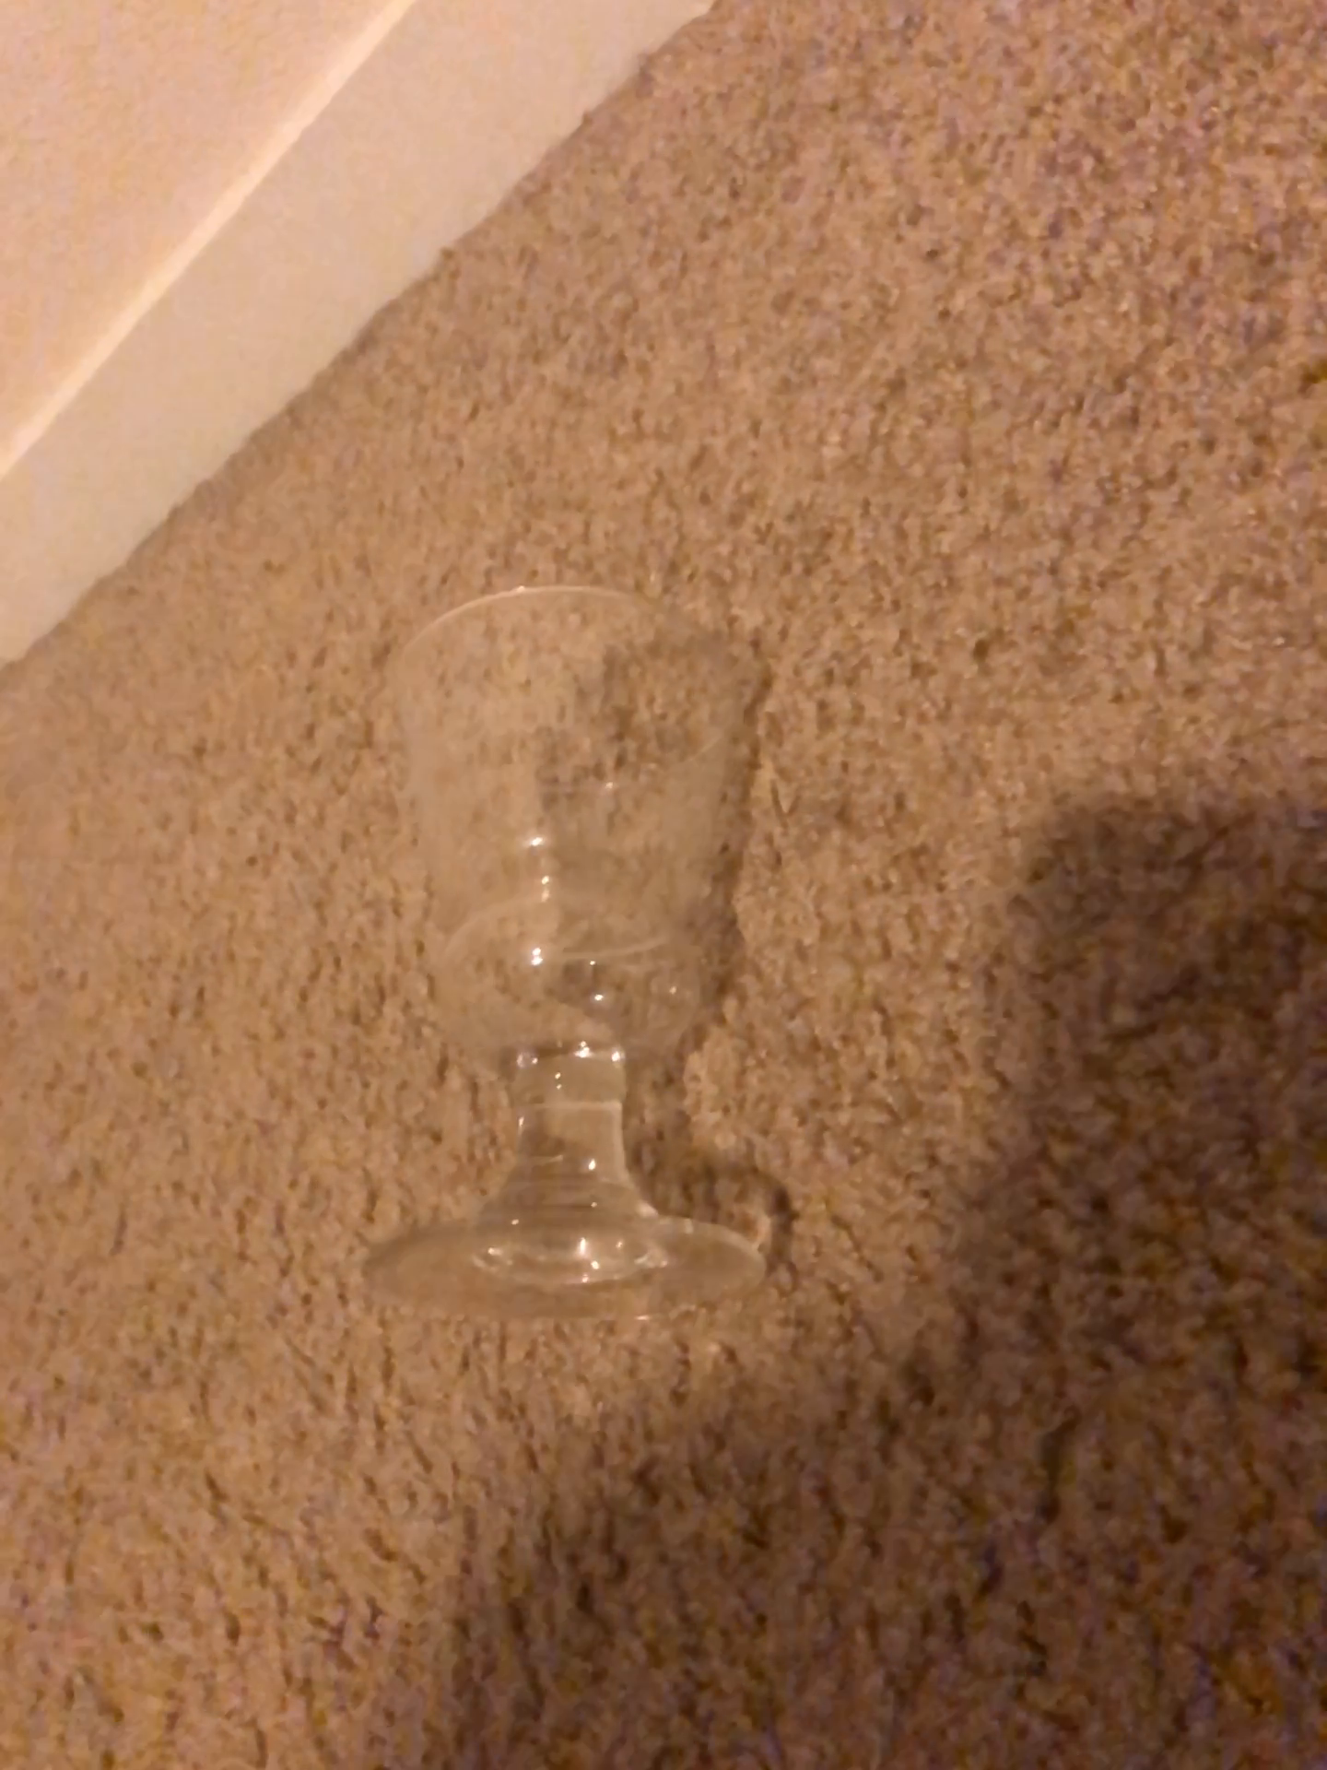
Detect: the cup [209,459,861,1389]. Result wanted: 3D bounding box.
[{"bbox_3d":[-0.025,0.011,0.313,0.095,0.078,0.158,-29,48,38],"label":"cup"}]
